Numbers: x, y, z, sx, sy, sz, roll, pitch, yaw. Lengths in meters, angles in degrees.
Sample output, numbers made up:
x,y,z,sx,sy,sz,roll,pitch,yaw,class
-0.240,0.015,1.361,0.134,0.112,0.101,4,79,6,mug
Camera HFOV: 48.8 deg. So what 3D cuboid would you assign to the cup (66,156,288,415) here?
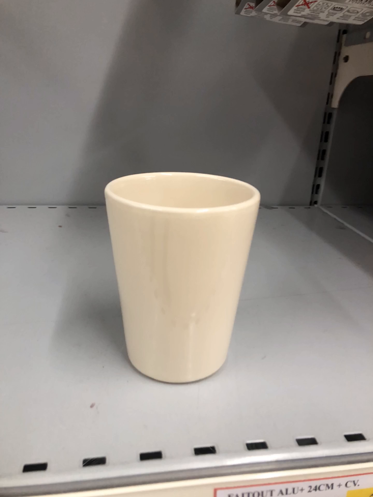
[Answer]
x,y,z,sx,sy,sz,roll,pitch,yaw,class
0.003,0.007,0.247,0.082,0.099,0.120,11,24,20,cup
